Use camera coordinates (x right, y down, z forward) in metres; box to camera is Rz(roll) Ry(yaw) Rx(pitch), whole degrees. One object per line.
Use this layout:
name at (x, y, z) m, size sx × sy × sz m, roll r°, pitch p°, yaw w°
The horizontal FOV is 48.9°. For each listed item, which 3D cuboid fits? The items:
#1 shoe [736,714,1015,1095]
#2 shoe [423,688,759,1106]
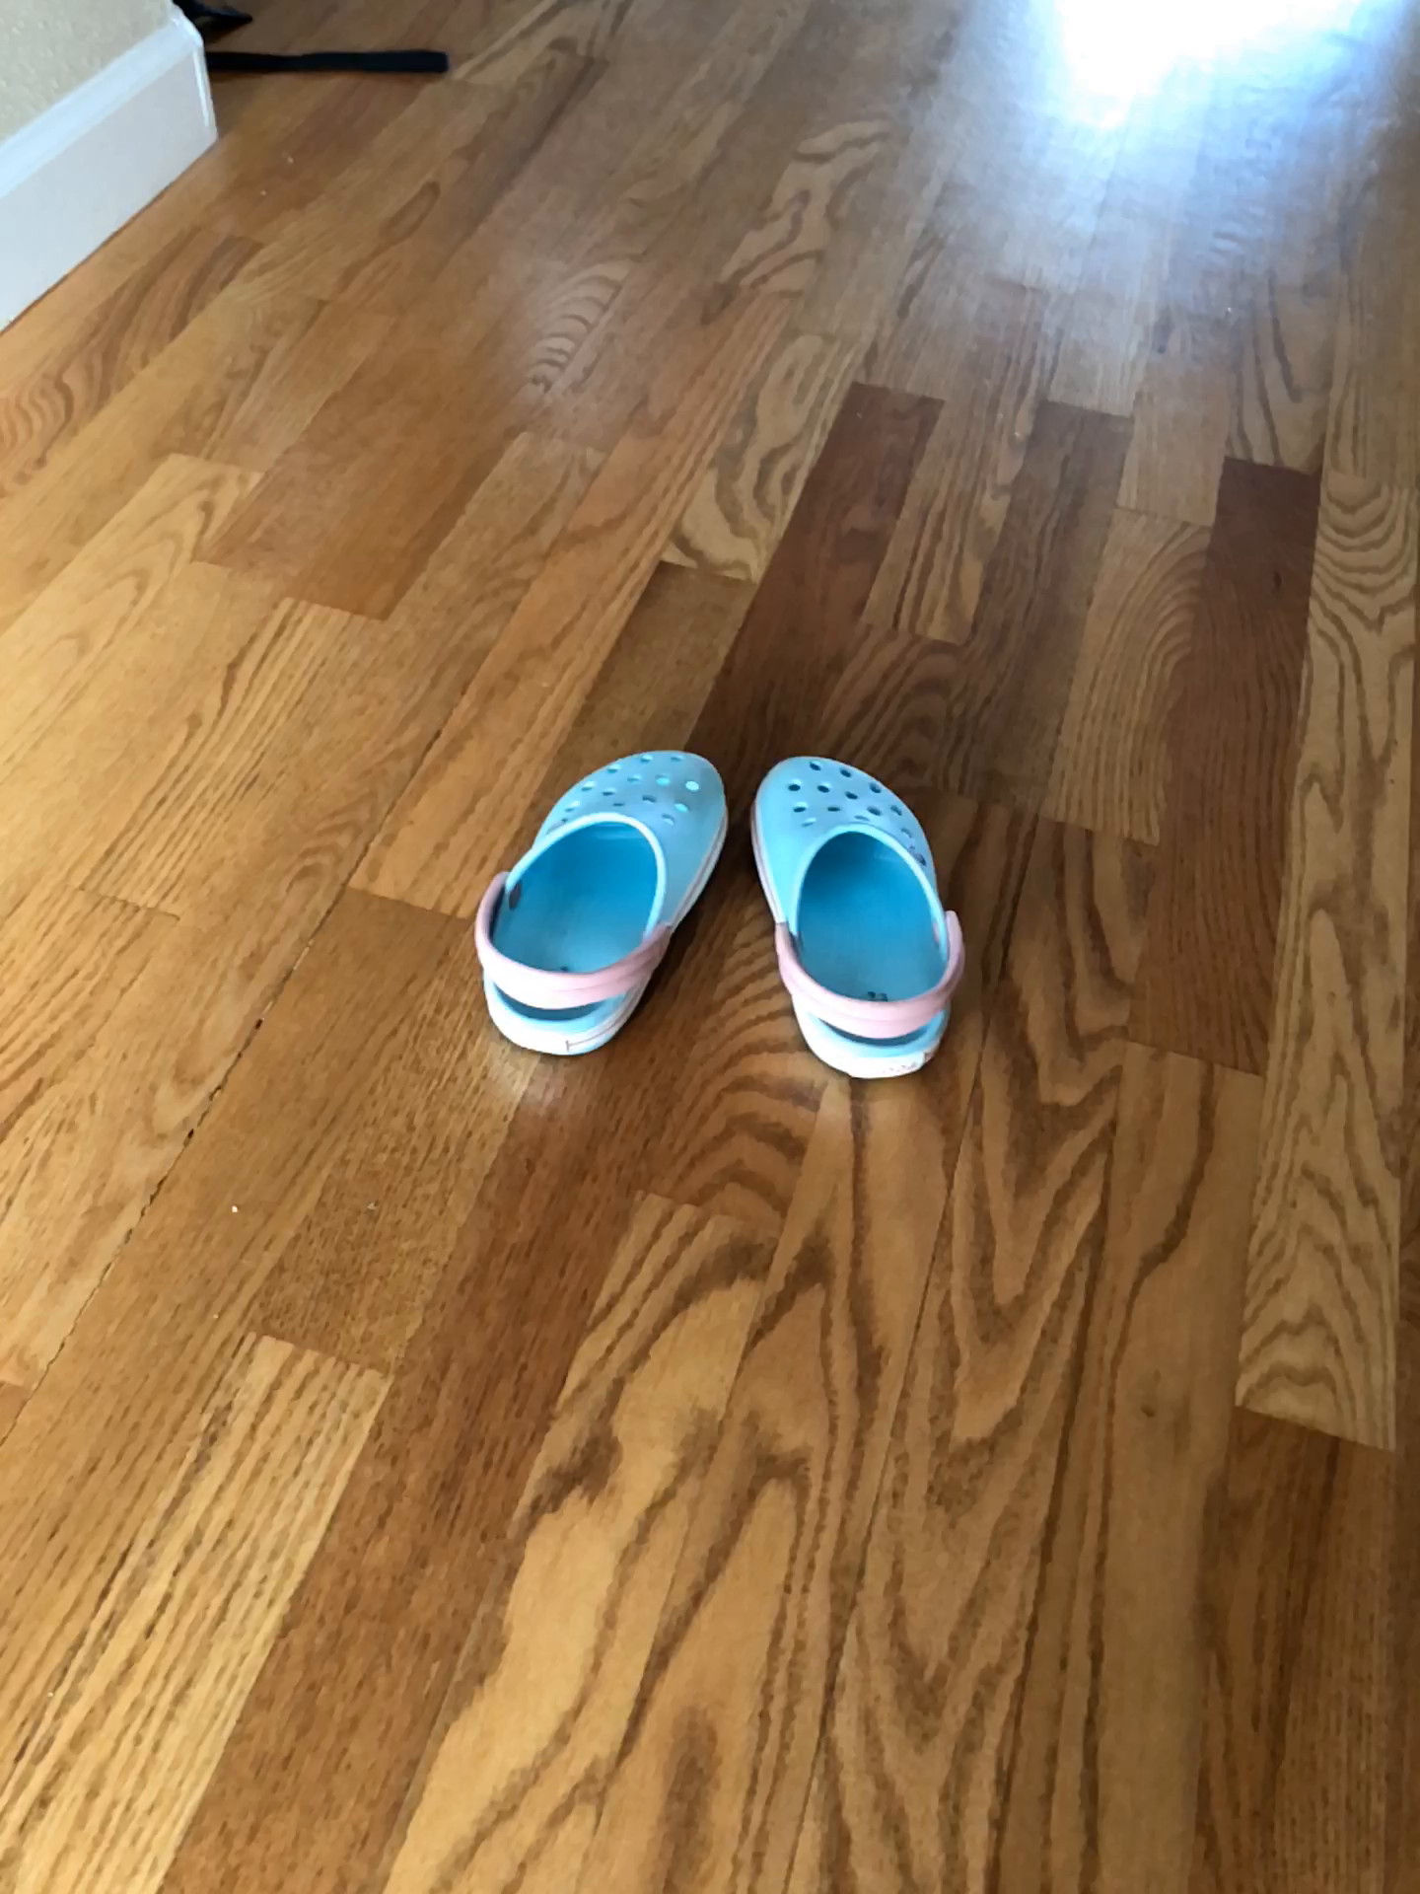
shoe at (0.064, -0.023, 0.658) m, size 0.083 × 0.048 × 0.166 m, roll -3°, pitch 51°, yaw -7°
shoe at (-0.045, -0.026, 0.657) m, size 0.083 × 0.057 × 0.166 m, roll 16°, pitch 51°, yaw 9°
